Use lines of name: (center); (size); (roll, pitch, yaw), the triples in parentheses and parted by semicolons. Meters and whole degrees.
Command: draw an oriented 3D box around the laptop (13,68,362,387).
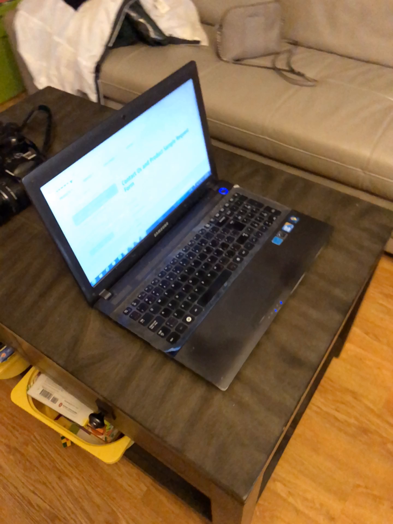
laptop: (0.008, -0.079, 0.667); (0.309, 0.231, 0.368); (26, 55, 23)
